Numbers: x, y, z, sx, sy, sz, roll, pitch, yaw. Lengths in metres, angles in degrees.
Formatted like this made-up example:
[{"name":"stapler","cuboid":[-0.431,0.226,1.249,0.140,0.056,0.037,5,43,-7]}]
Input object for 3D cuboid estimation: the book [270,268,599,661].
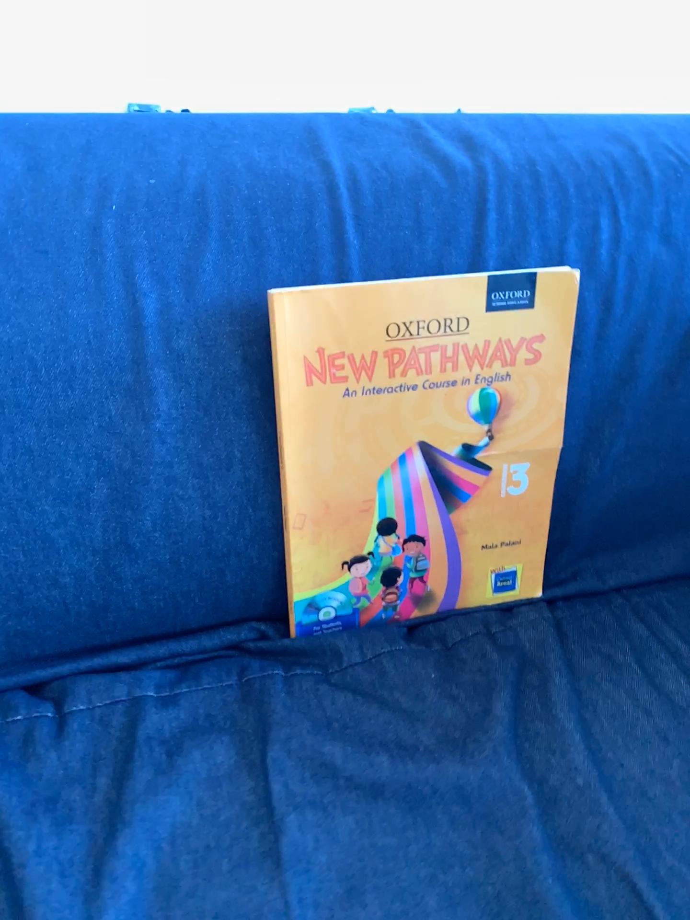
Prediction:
[{"name":"book","cuboid":[0.066,0.007,0.536,0.230,0.283,0.030,-7,23,-14]}]
